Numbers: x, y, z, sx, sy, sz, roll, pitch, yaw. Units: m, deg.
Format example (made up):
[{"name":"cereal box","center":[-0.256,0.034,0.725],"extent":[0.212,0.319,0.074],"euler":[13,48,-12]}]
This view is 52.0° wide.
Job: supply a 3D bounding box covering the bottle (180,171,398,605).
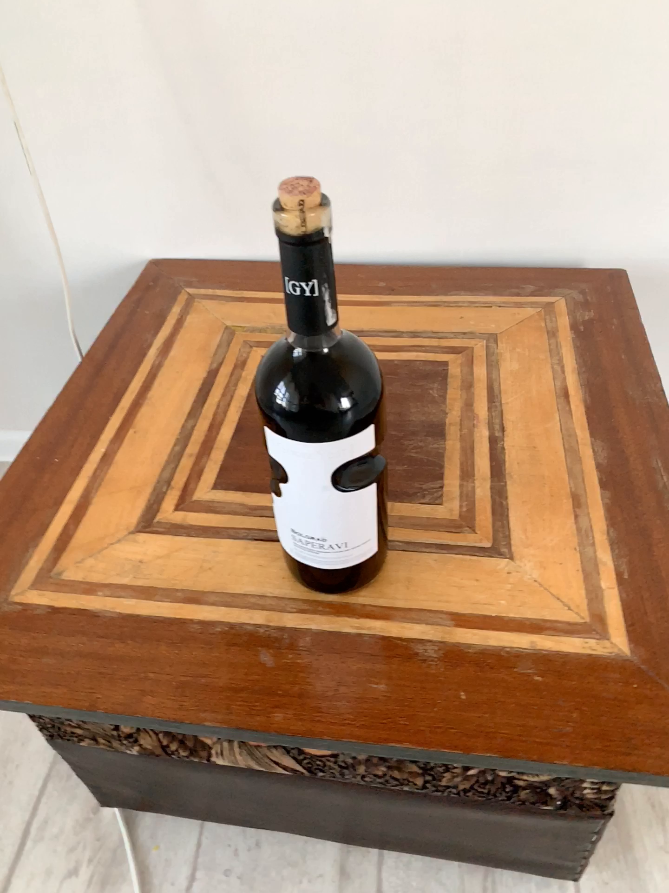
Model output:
[{"name":"bottle","center":[-0.011,-0.021,0.433],"extent":[0.090,0.269,0.090],"euler":[-3,42,3]}]
